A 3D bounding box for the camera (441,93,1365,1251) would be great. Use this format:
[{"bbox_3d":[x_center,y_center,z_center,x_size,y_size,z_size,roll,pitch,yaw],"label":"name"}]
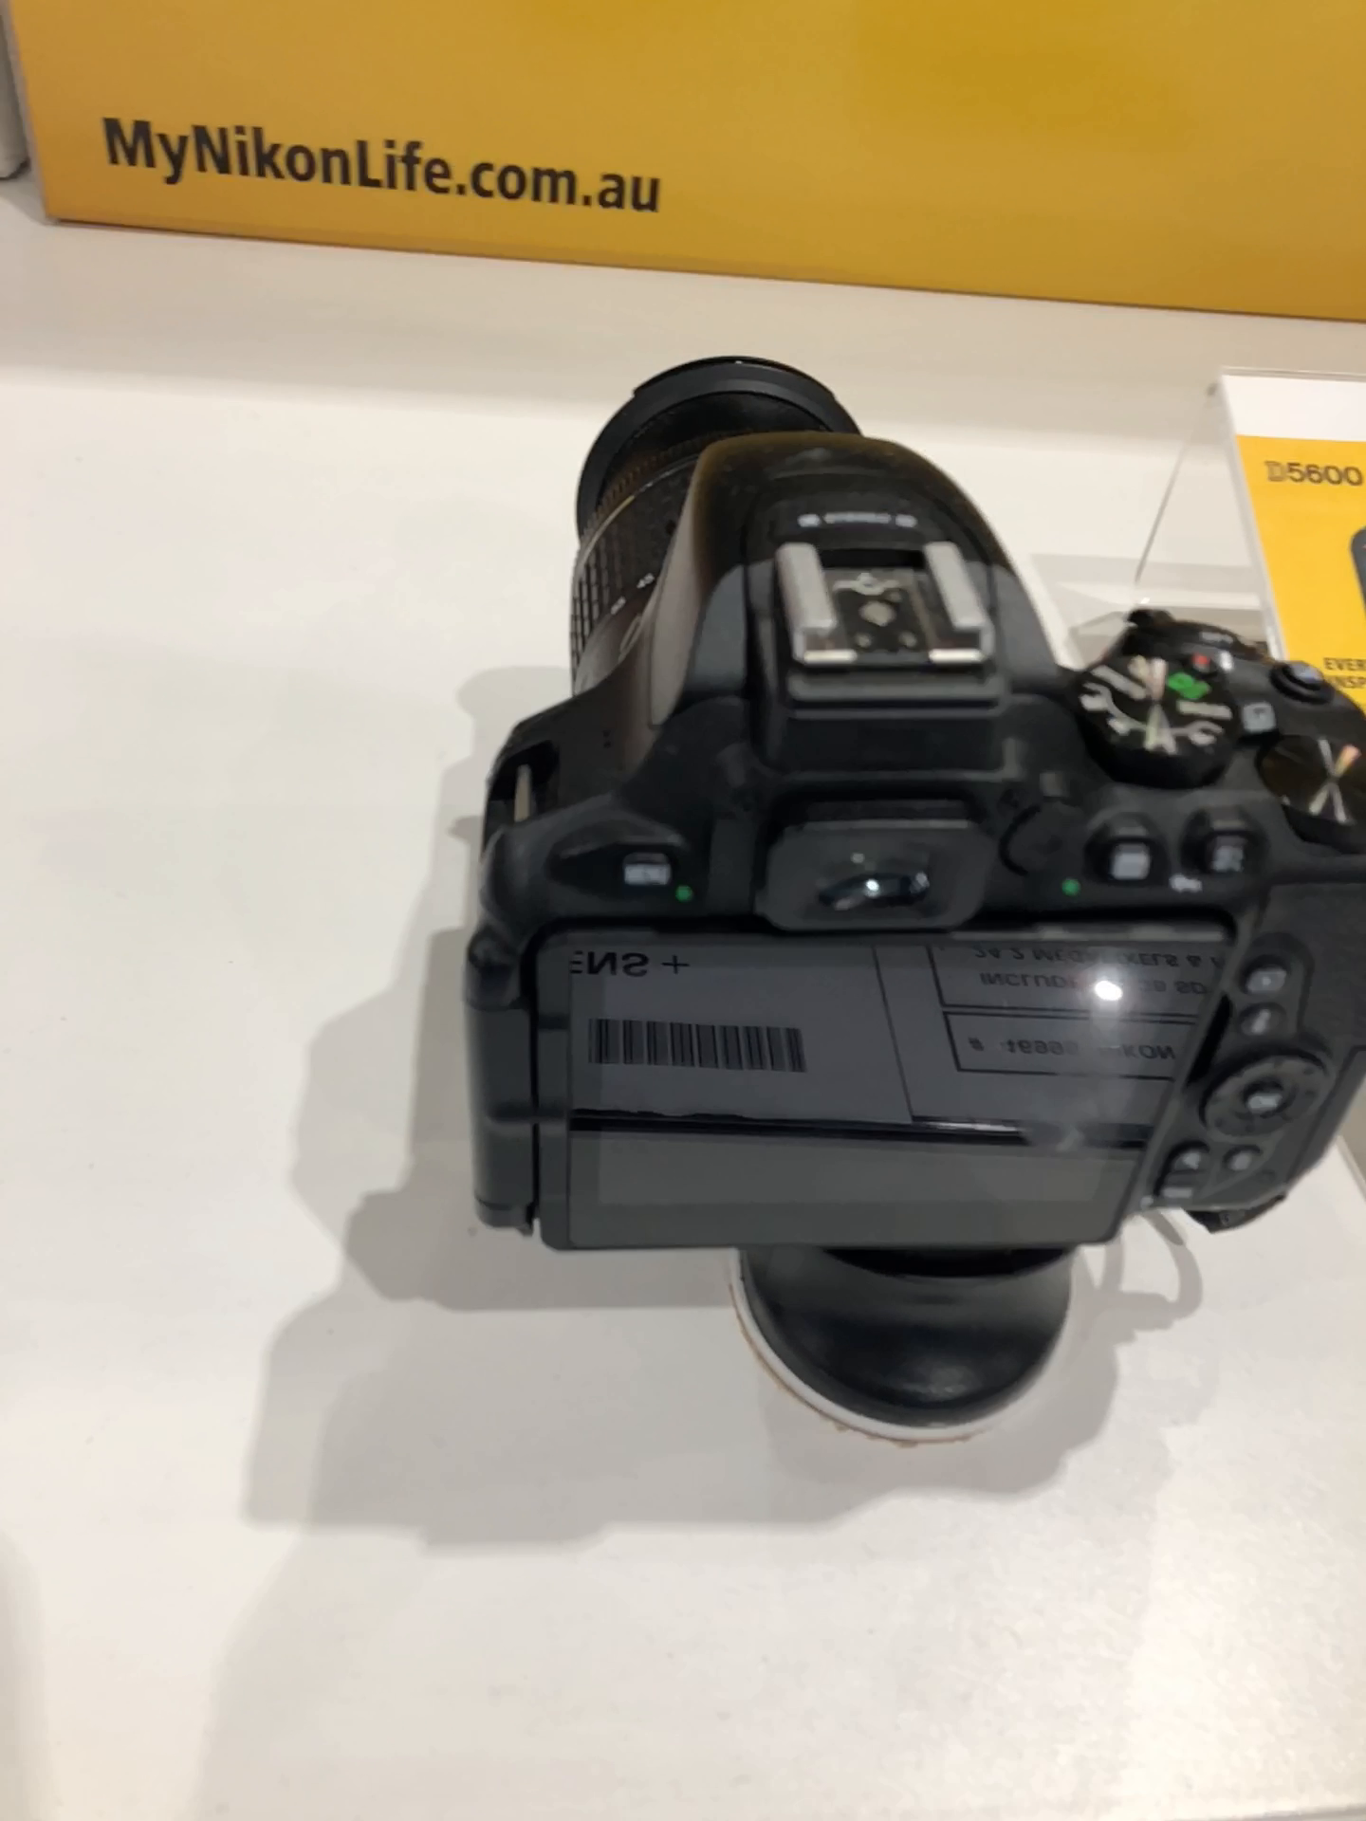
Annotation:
[{"bbox_3d":[0.031,-0.044,0.239,0.127,0.097,0.163,1,46,-6],"label":"camera"}]
